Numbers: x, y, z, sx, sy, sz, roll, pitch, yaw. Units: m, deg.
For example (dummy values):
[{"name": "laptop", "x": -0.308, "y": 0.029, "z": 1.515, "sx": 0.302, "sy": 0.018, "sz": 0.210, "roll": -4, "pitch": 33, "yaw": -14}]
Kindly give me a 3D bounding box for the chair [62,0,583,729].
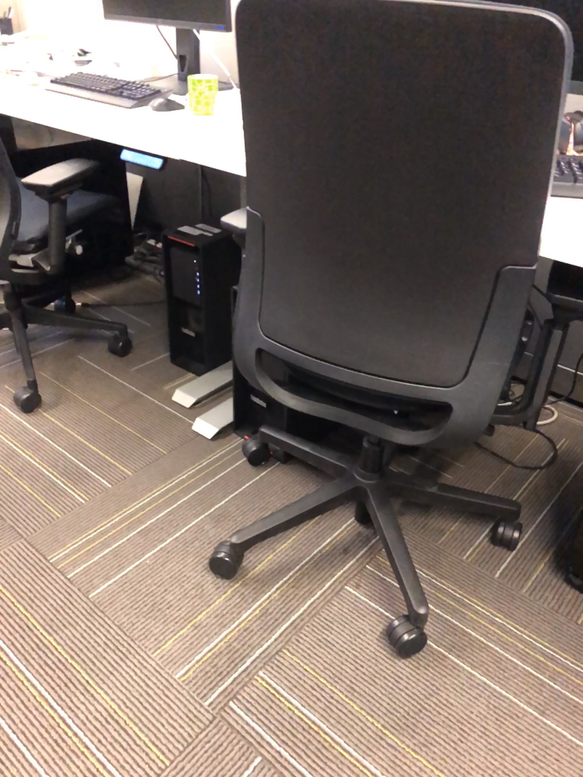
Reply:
[{"name": "chair", "x": 0.172, "y": -0.134, "z": 1.217, "sx": 0.711, "sy": 1.044, "sz": 0.723, "roll": 19, "pitch": 36, "yaw": 25}]
